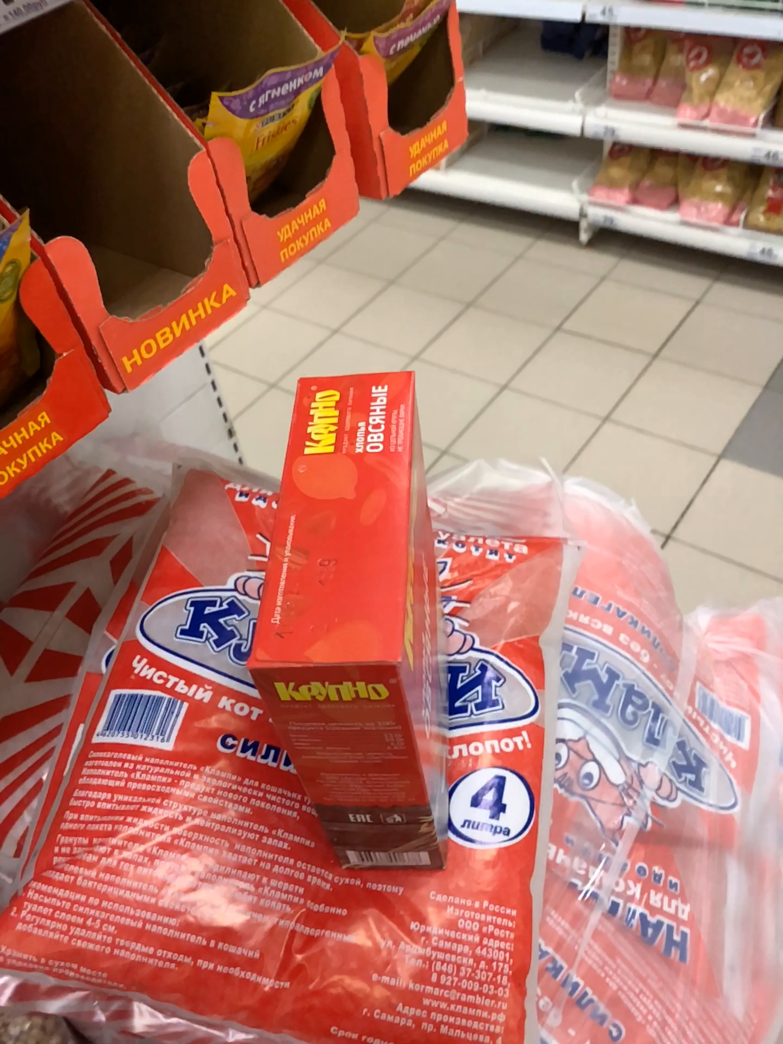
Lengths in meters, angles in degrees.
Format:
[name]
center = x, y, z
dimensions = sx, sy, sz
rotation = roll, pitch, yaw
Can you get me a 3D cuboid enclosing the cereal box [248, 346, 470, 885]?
[cereal box]
center = -0.001, 0.050, 0.386
dimensions = 0.060, 0.199, 0.151
rotation = -2, 48, 6
